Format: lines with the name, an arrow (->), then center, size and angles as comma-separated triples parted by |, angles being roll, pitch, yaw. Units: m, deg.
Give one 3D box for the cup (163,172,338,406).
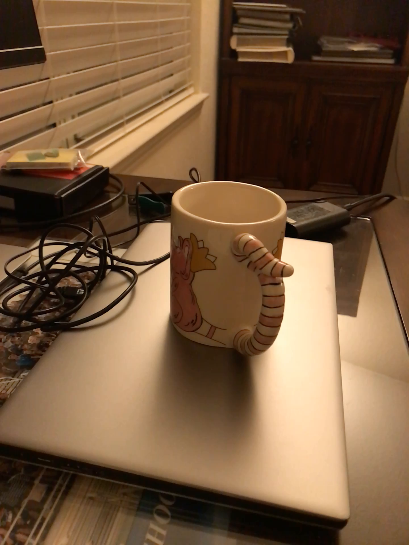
cup -> 0.018, 0.002, 0.303 | 0.080, 0.099, 0.131 | -3, 30, -8
